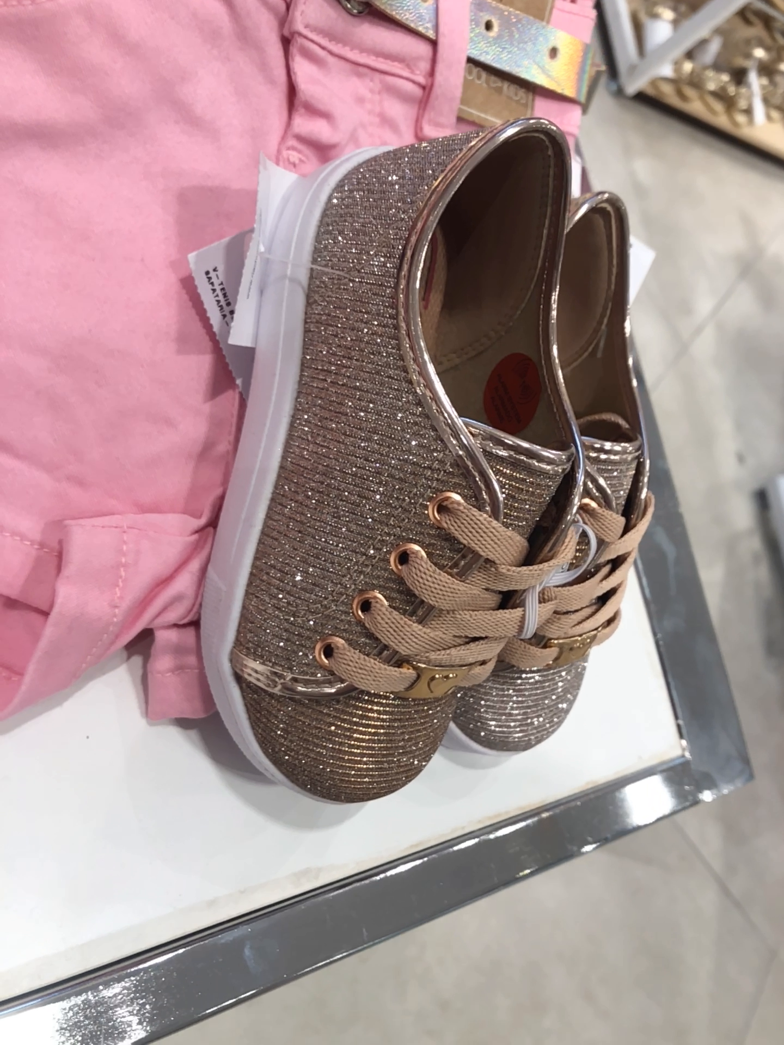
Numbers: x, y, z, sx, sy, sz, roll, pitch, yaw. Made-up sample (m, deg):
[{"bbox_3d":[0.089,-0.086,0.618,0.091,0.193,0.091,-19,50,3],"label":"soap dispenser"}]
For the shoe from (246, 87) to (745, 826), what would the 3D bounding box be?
[{"bbox_3d":[0.030,-0.017,0.255,0.080,0.080,0.170,-14,94,-39],"label":"shoe"}]

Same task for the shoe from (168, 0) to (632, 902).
[{"bbox_3d":[-0.003,-0.017,0.214,0.070,0.080,0.170,-1,97,-37],"label":"shoe"}]
